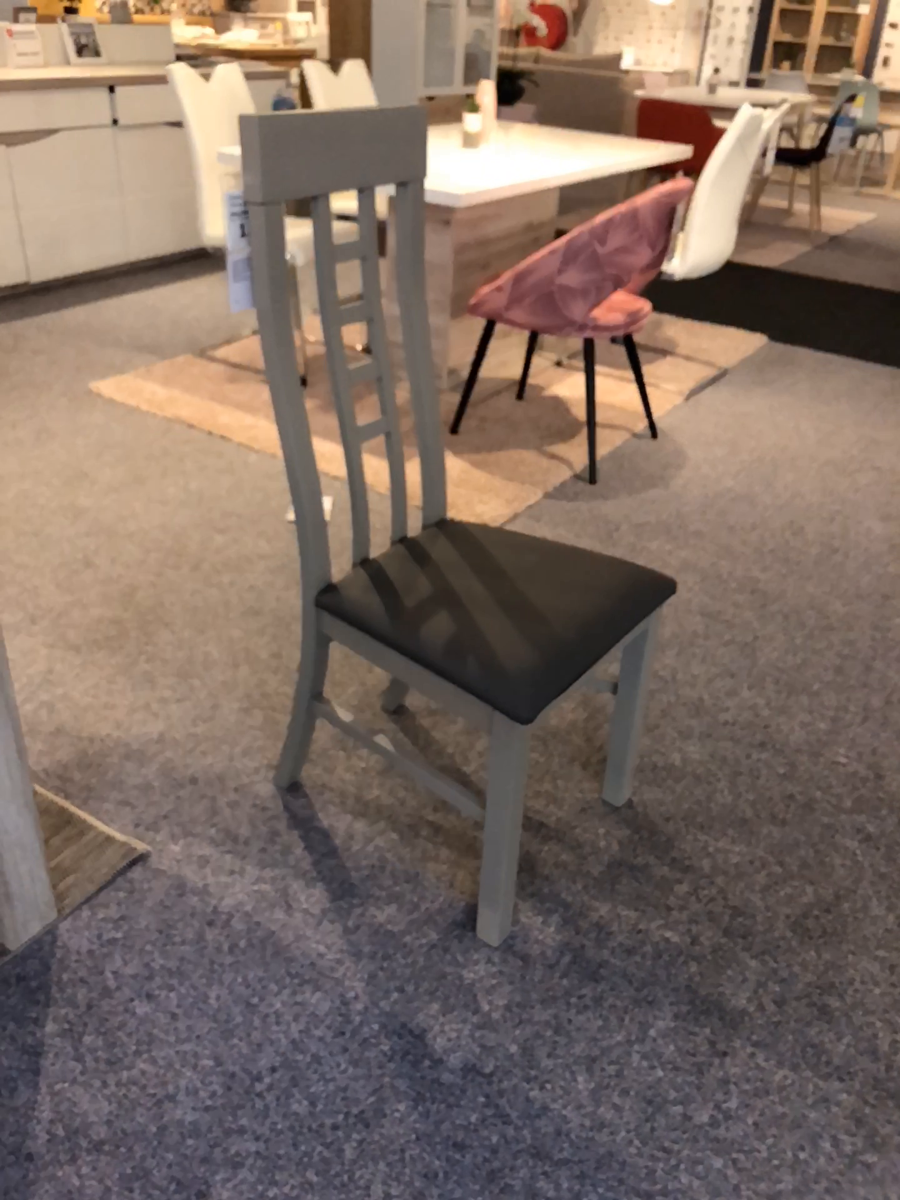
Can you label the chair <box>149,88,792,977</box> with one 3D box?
[{"bbox_3d":[0.016,-0.122,1.399,0.550,1.014,0.513,22,35,28],"label":"chair"}]
